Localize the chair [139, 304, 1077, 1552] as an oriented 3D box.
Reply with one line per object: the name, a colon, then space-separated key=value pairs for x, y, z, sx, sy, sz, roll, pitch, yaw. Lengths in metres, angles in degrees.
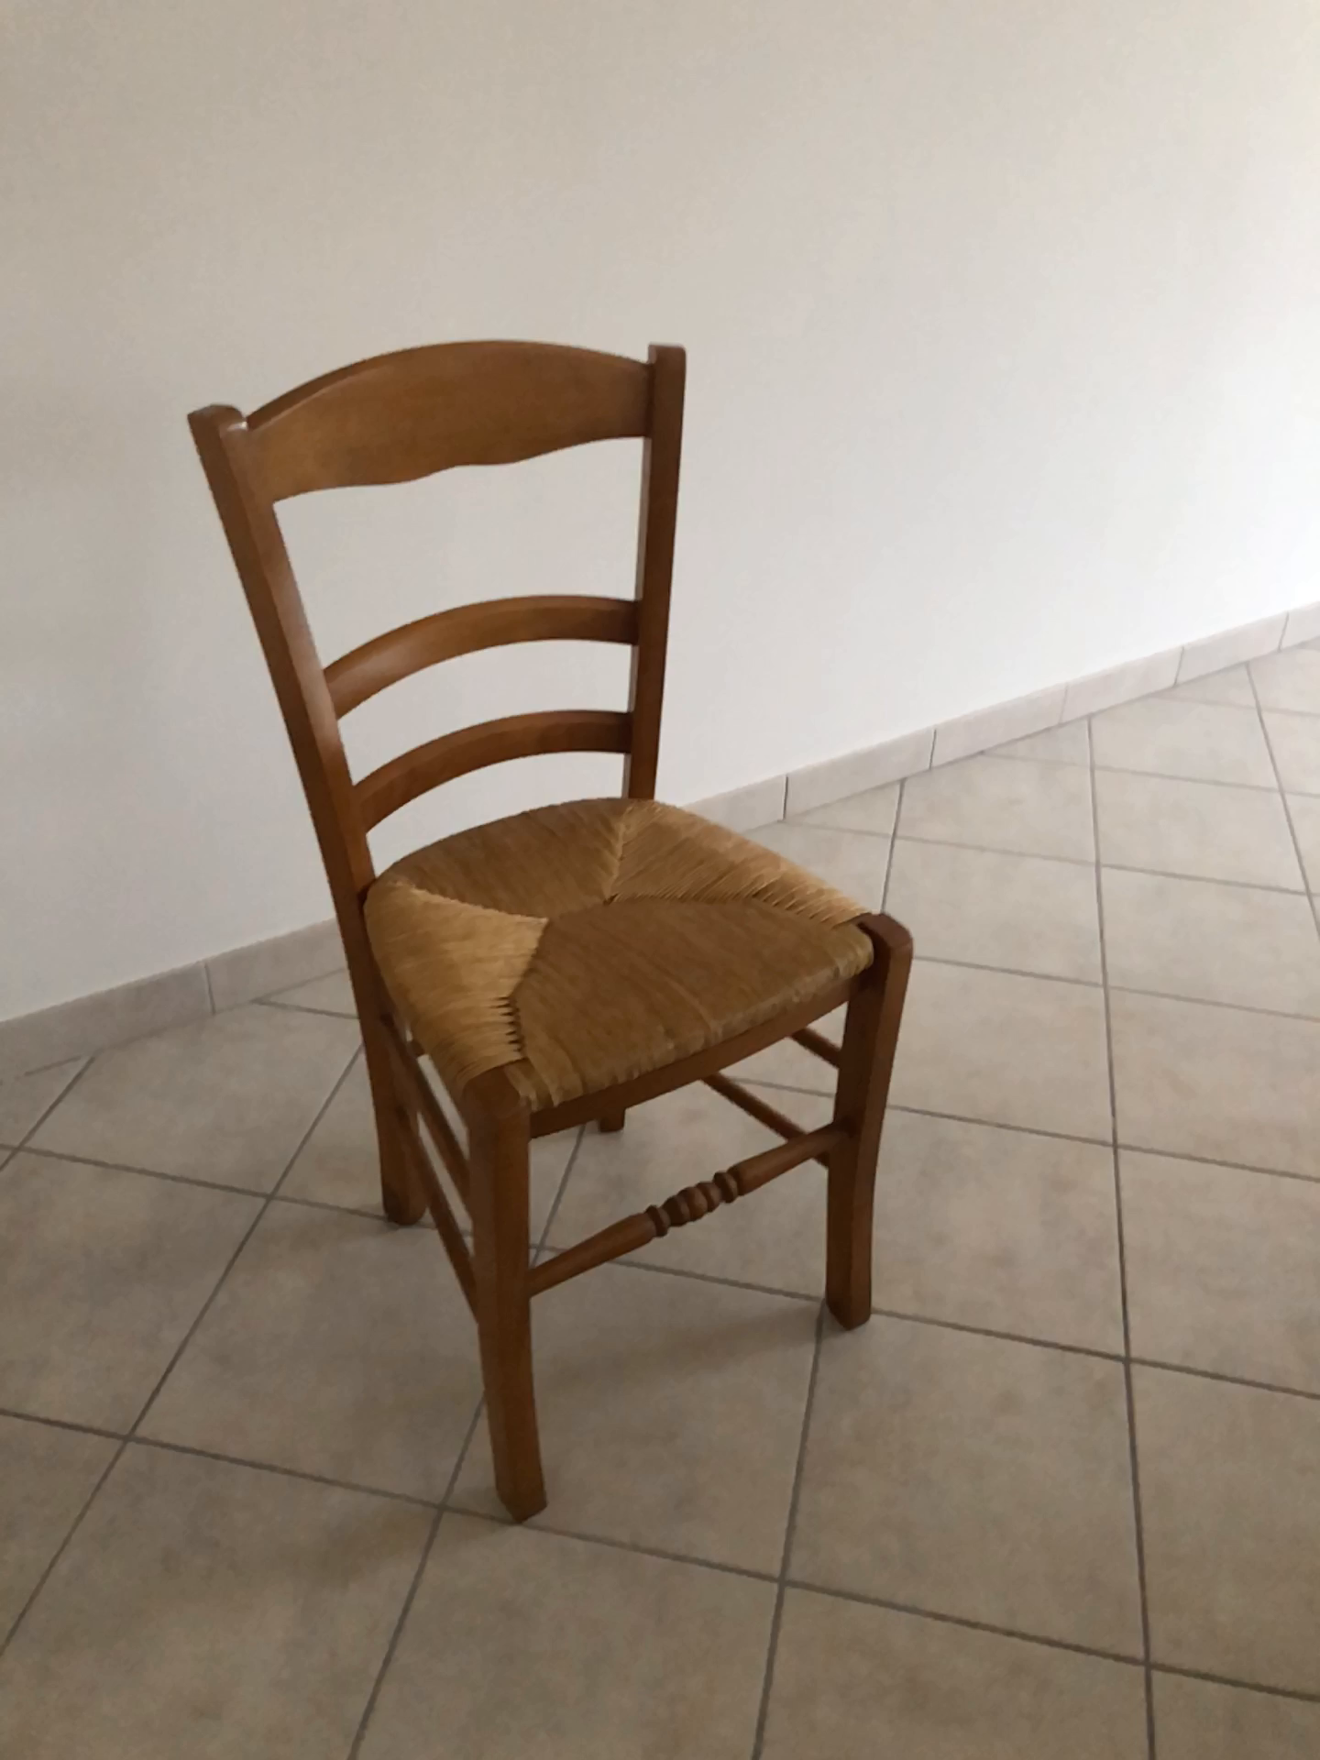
chair: x=-0.068 y=0.020 z=1.229 sx=0.452 sy=0.825 sz=0.501 roll=-20 pitch=40 yaw=-29
